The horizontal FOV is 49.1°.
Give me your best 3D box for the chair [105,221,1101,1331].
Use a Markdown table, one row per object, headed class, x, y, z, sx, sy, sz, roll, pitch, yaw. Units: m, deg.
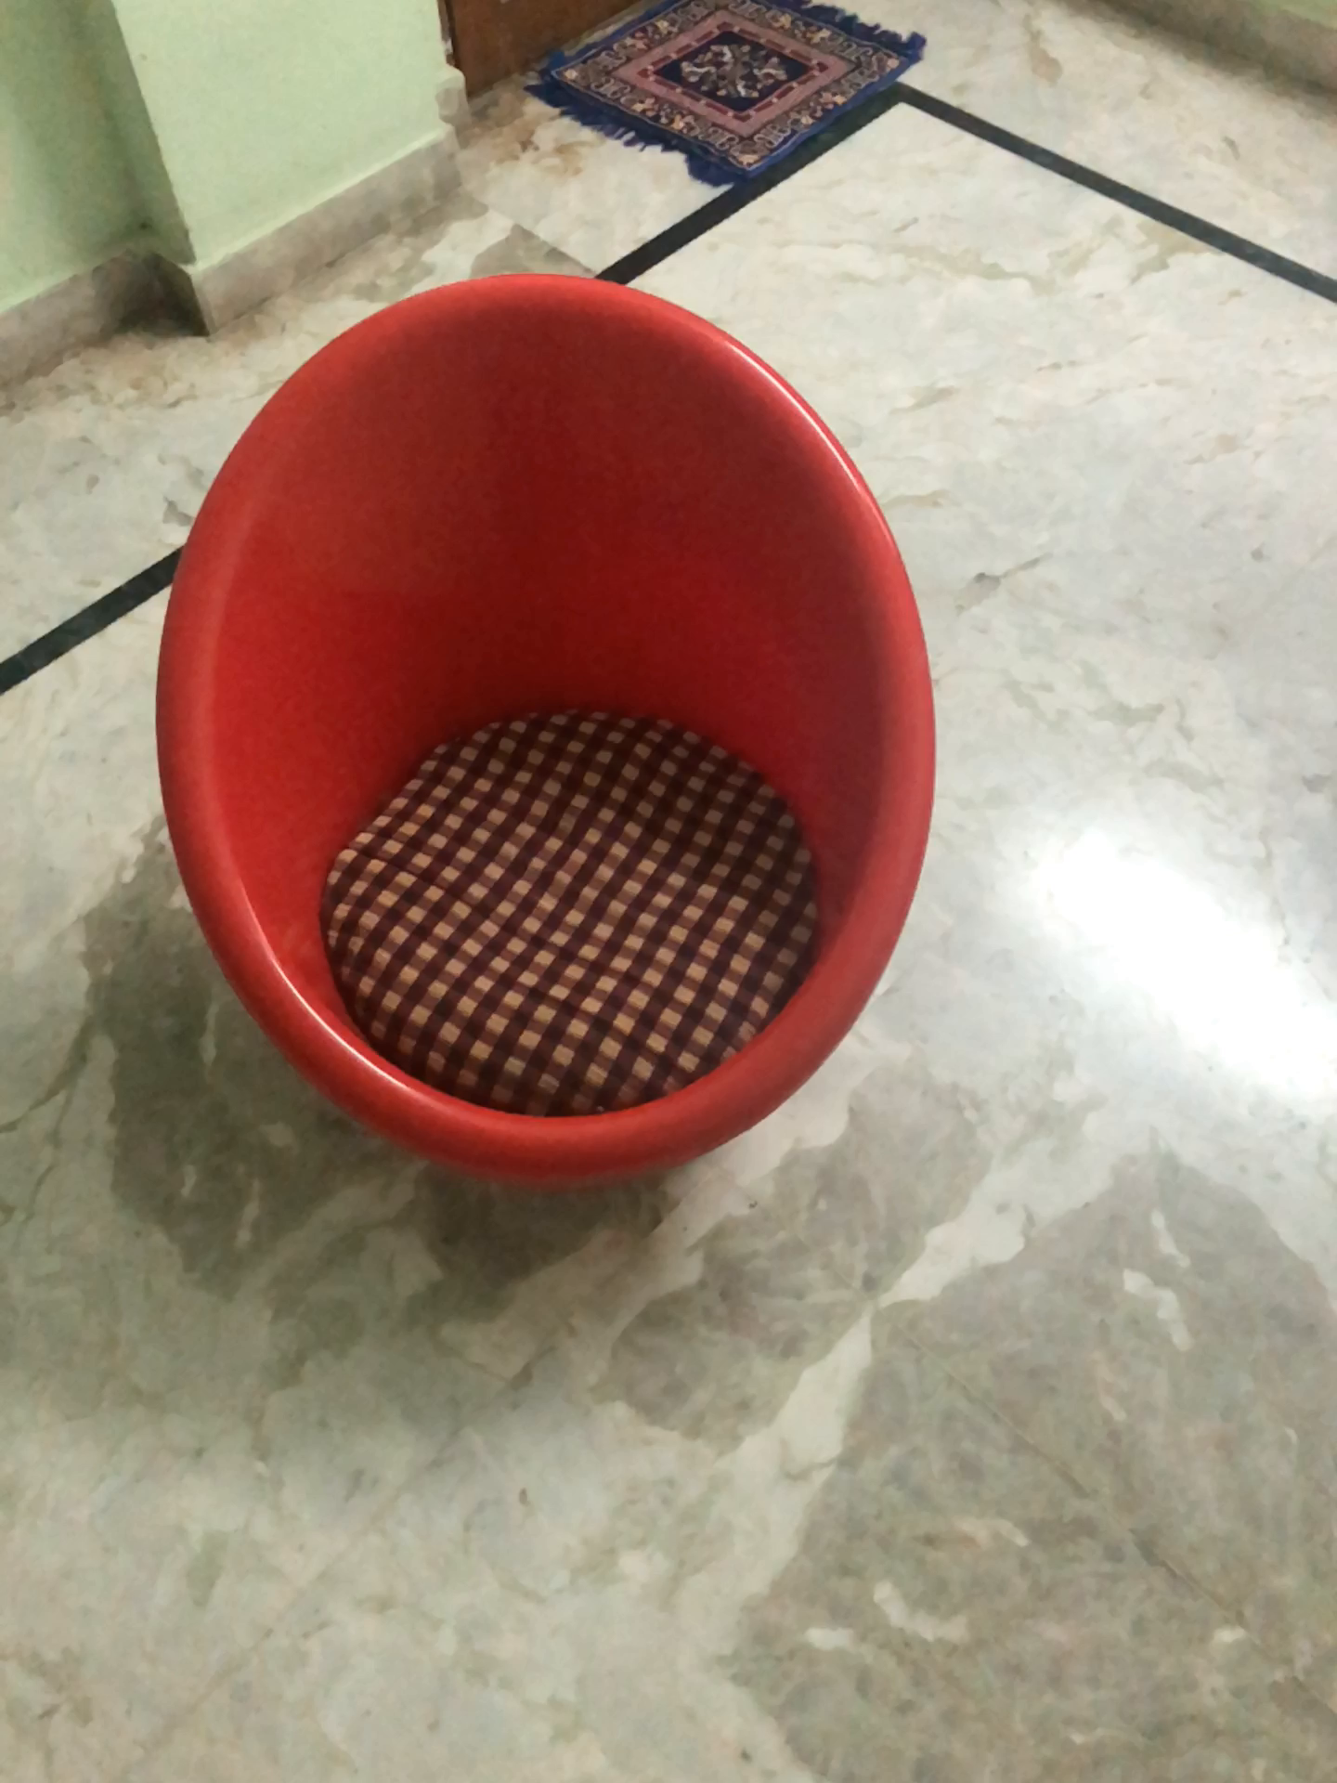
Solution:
| class | x | y | z | sx | sy | sz | roll | pitch | yaw |
| --- | --- | --- | --- | --- | --- | --- | --- | --- | --- |
| chair | -0.101 | -0.111 | 1.317 | 0.620 | 0.507 | 0.744 | -11 | 57 | -6 |
